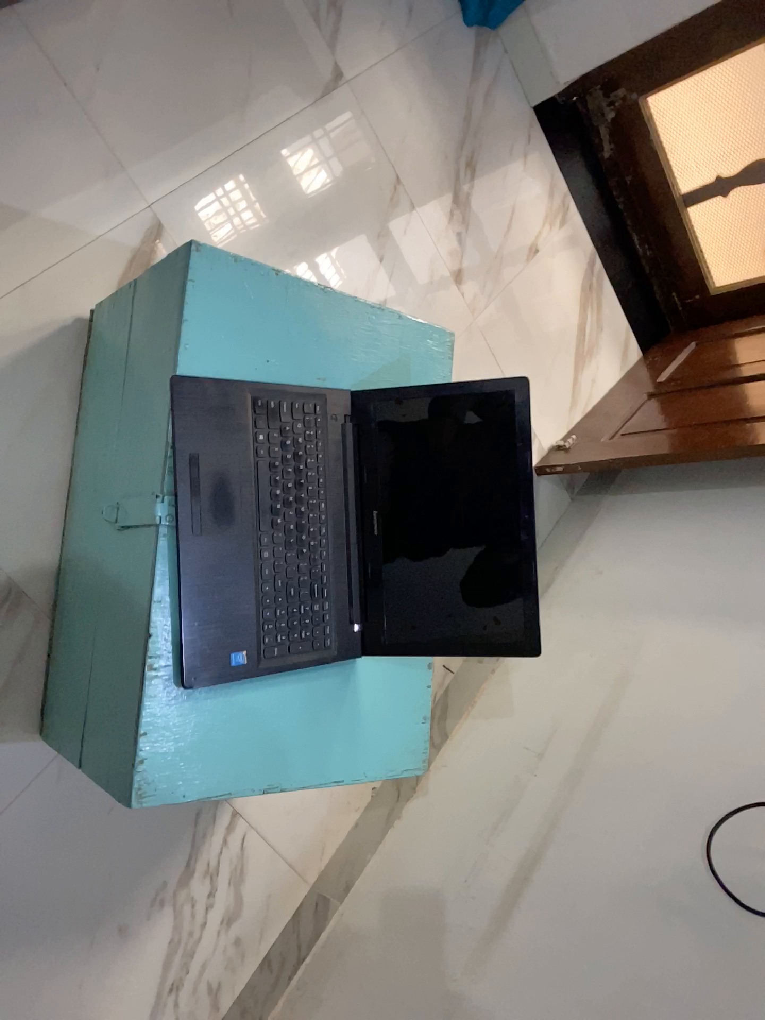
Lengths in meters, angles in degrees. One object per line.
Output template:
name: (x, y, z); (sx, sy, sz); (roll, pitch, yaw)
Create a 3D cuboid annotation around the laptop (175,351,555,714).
laptop: (-0.009, 0.022, 0.988); (0.425, 0.191, 0.370); (-2, 89, -37)
